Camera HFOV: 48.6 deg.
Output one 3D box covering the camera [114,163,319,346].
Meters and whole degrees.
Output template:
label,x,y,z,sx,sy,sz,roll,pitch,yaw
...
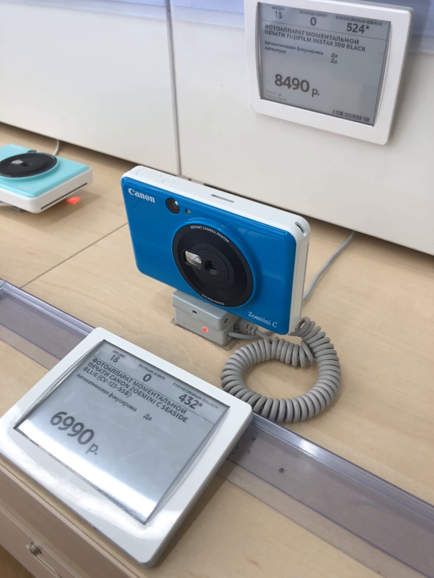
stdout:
label,x,y,z,sx,sy,sz,roll,pitch,yaw
camera,-0.002,-0.023,0.285,0.119,0.072,0.025,23,49,28
